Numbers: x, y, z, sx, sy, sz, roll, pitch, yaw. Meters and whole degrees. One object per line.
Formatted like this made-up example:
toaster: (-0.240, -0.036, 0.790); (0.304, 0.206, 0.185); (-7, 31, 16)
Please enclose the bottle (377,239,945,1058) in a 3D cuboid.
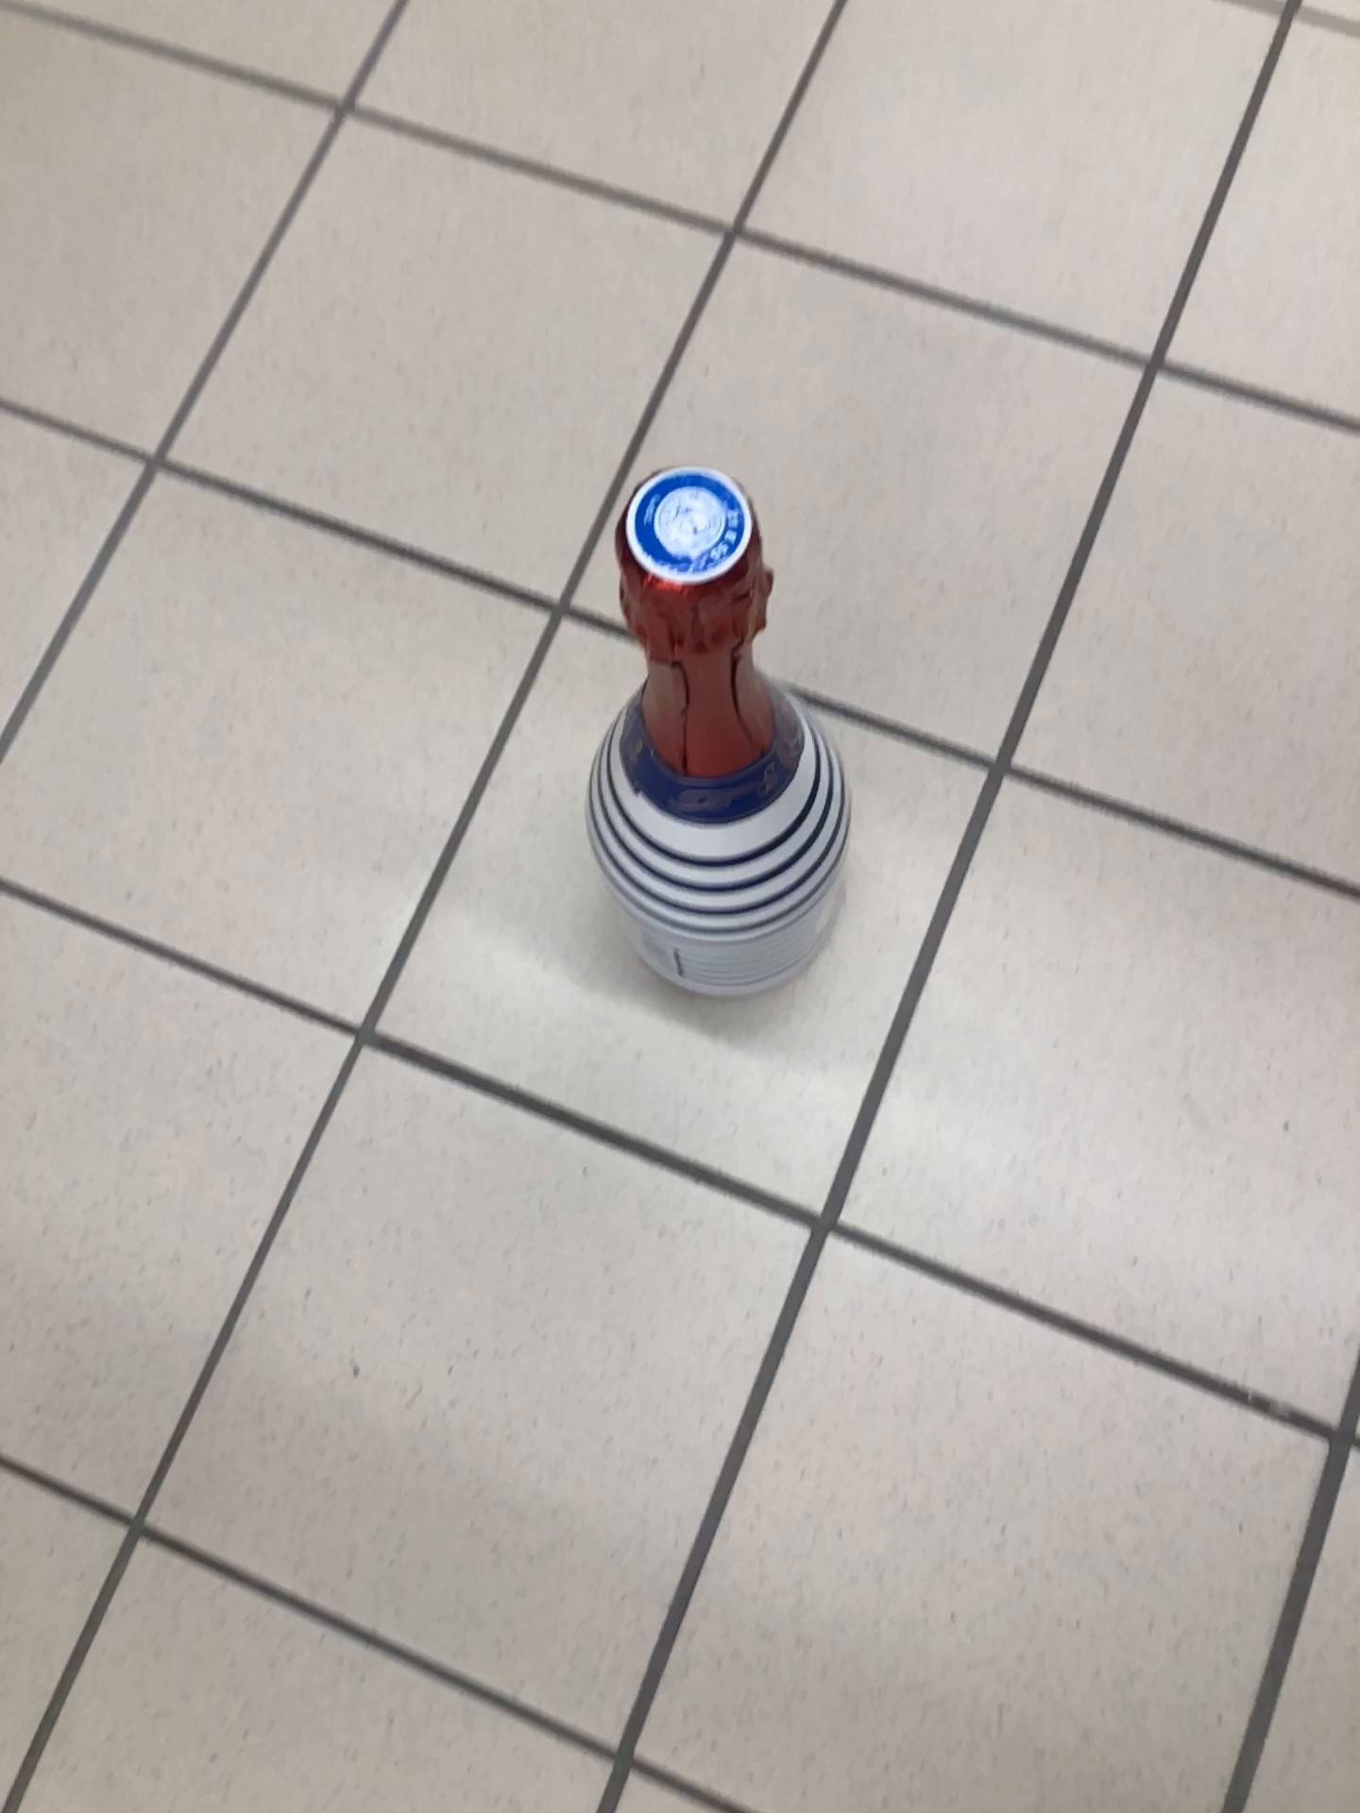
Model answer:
bottle: (0.003, -0.042, 0.456); (0.090, 0.309, 0.100); (-19, 74, -2)
